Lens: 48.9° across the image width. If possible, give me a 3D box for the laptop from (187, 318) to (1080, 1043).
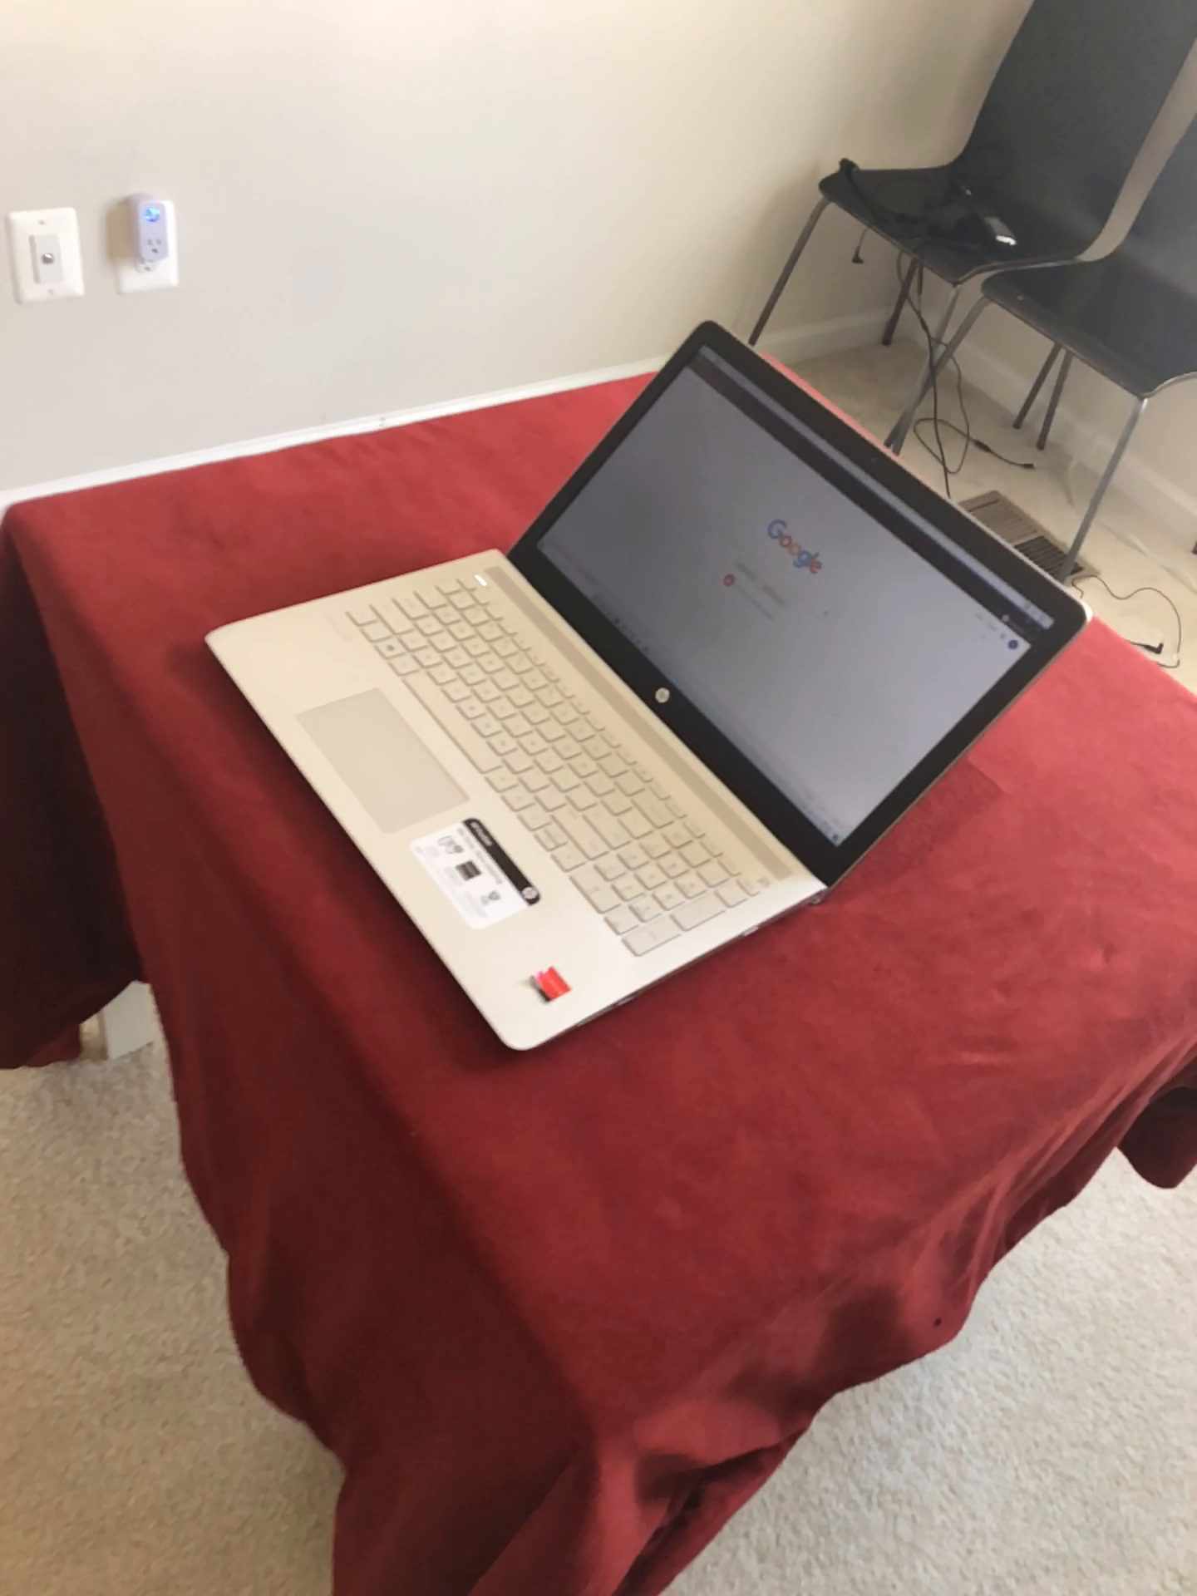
[{"bbox_3d":[0.012,-0.110,0.828,0.396,0.158,0.361,-23,57,-31],"label":"laptop"}]
